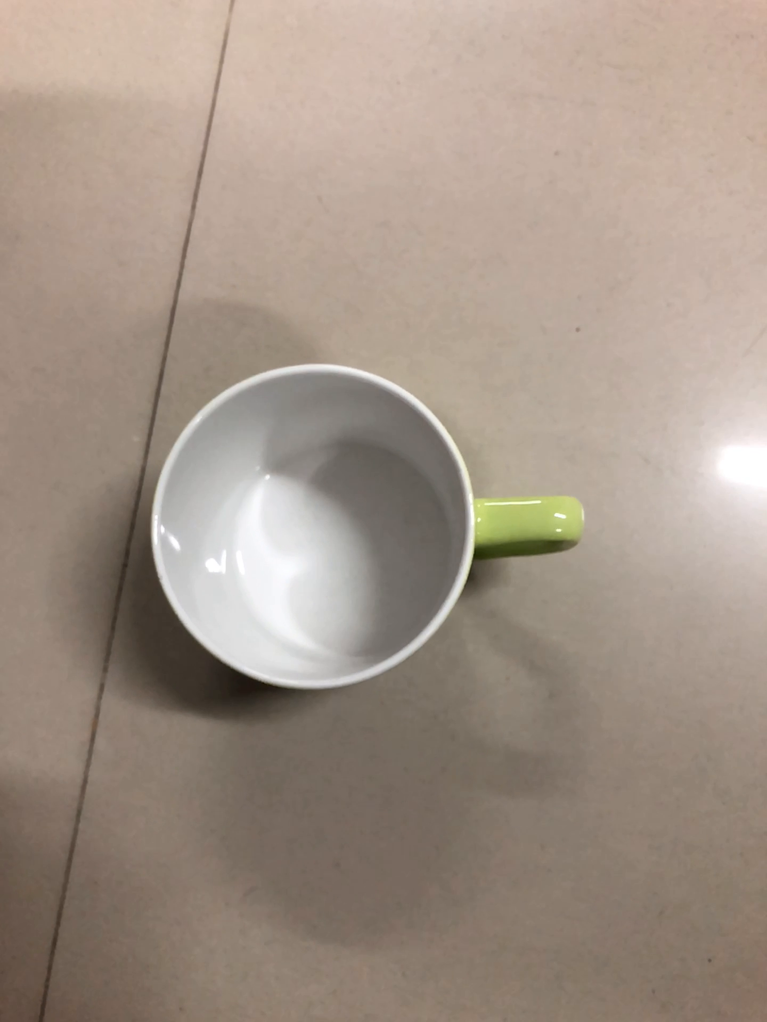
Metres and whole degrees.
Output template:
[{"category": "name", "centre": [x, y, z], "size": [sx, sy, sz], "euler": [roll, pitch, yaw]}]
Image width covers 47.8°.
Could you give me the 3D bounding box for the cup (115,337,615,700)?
[{"category": "cup", "centre": [-0.003, 0.007, 0.217], "size": [0.100, 0.080, 0.070], "euler": [-3, 82, 4]}]
